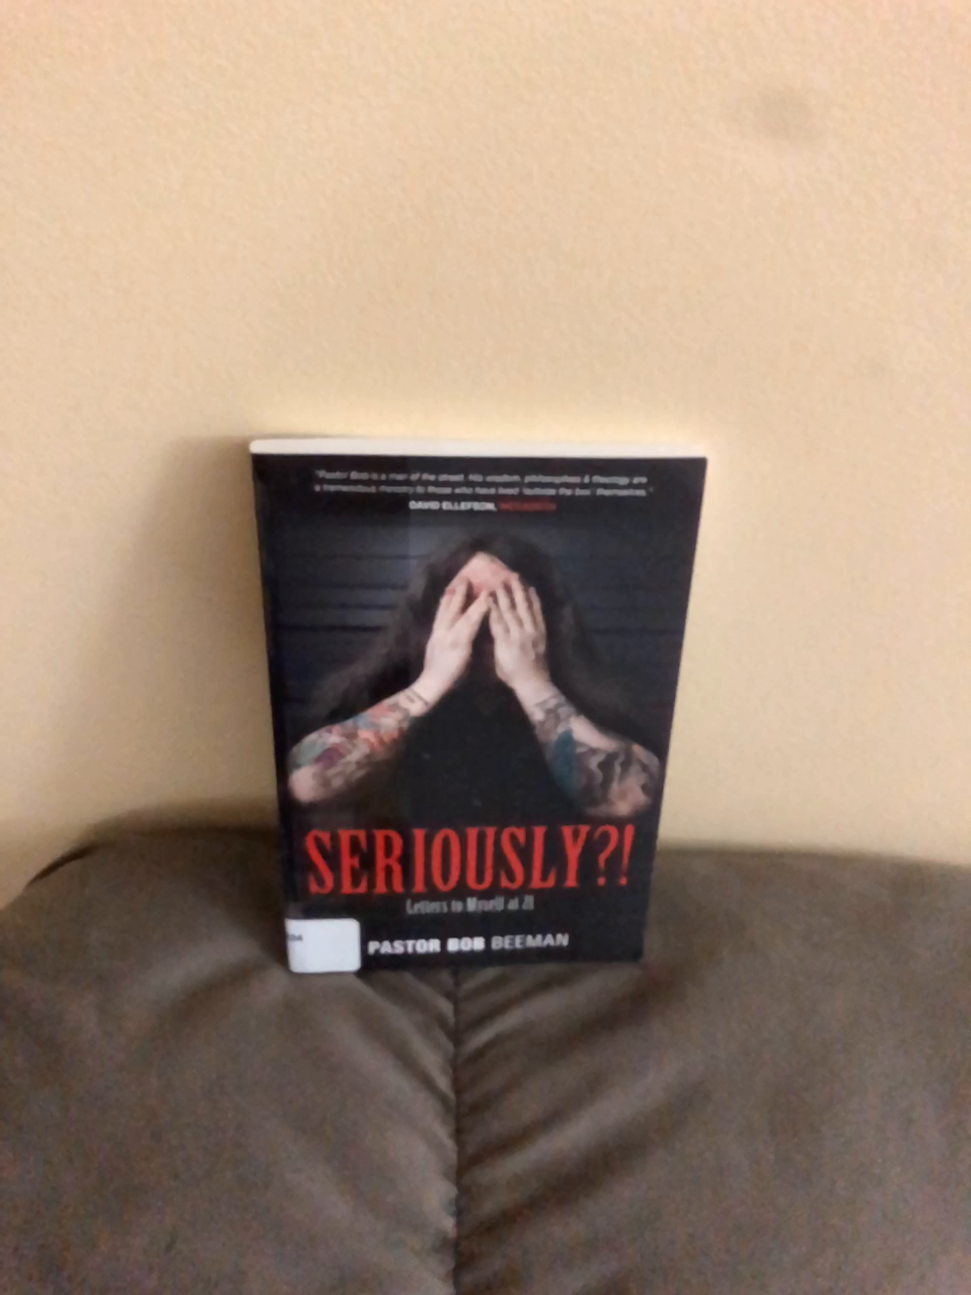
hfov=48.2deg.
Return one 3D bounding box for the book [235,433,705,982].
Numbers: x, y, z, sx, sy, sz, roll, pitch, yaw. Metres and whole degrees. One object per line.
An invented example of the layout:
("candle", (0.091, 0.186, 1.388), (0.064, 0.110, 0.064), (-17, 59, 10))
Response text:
("book", (-0.006, 0.029, 0.374), (0.136, 0.205, 0.023), (-1, 29, -5))
